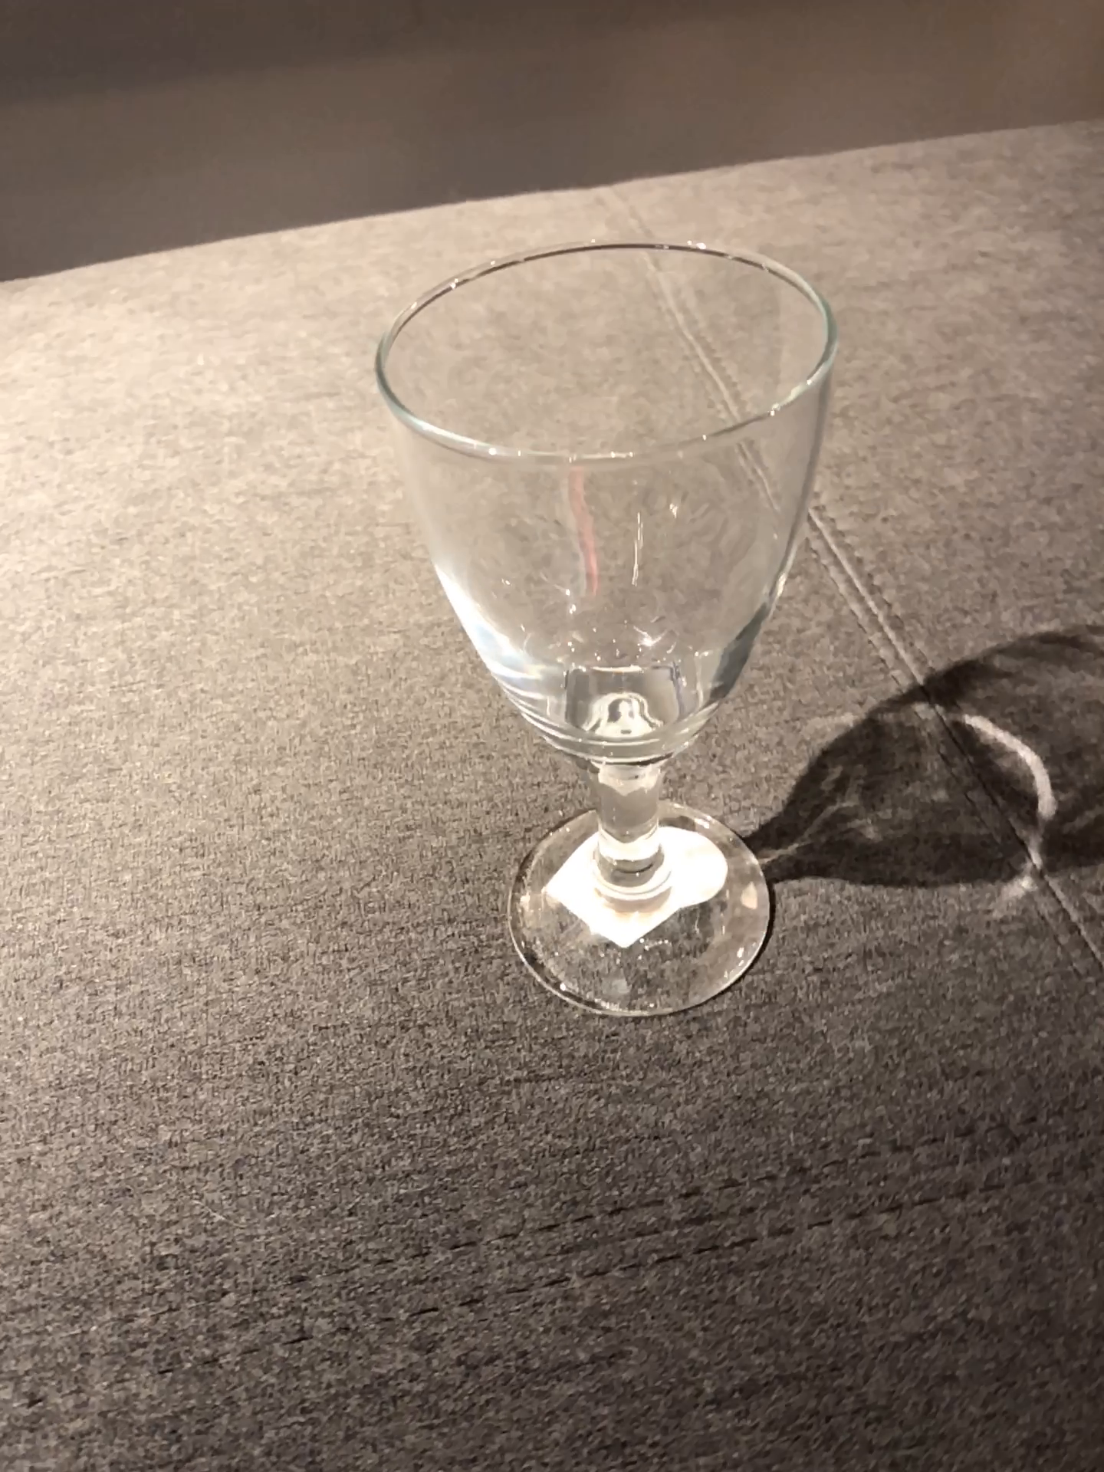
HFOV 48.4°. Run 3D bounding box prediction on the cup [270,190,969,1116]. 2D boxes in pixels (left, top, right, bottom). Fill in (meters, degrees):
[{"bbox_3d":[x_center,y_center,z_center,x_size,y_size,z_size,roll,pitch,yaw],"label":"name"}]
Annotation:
[{"bbox_3d":[0.014,-0.013,0.281,0.090,0.169,0.090,-2,44,2],"label":"cup"}]
